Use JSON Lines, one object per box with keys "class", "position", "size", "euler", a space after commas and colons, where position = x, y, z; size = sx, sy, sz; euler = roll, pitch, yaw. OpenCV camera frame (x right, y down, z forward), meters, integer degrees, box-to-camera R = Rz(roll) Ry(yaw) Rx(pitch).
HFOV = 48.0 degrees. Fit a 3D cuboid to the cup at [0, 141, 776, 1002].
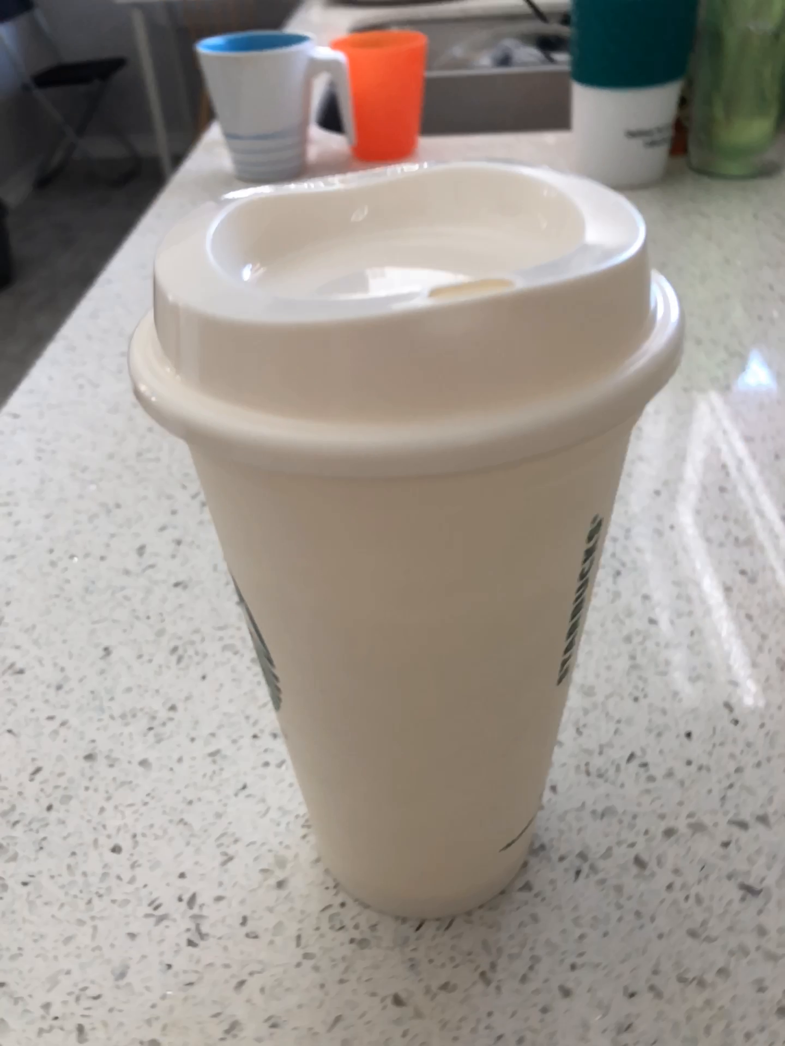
{"class": "cup", "position": [0.006, 0.010, 0.176], "size": [0.090, 0.139, 0.090], "euler": [-3, 37, 2]}
